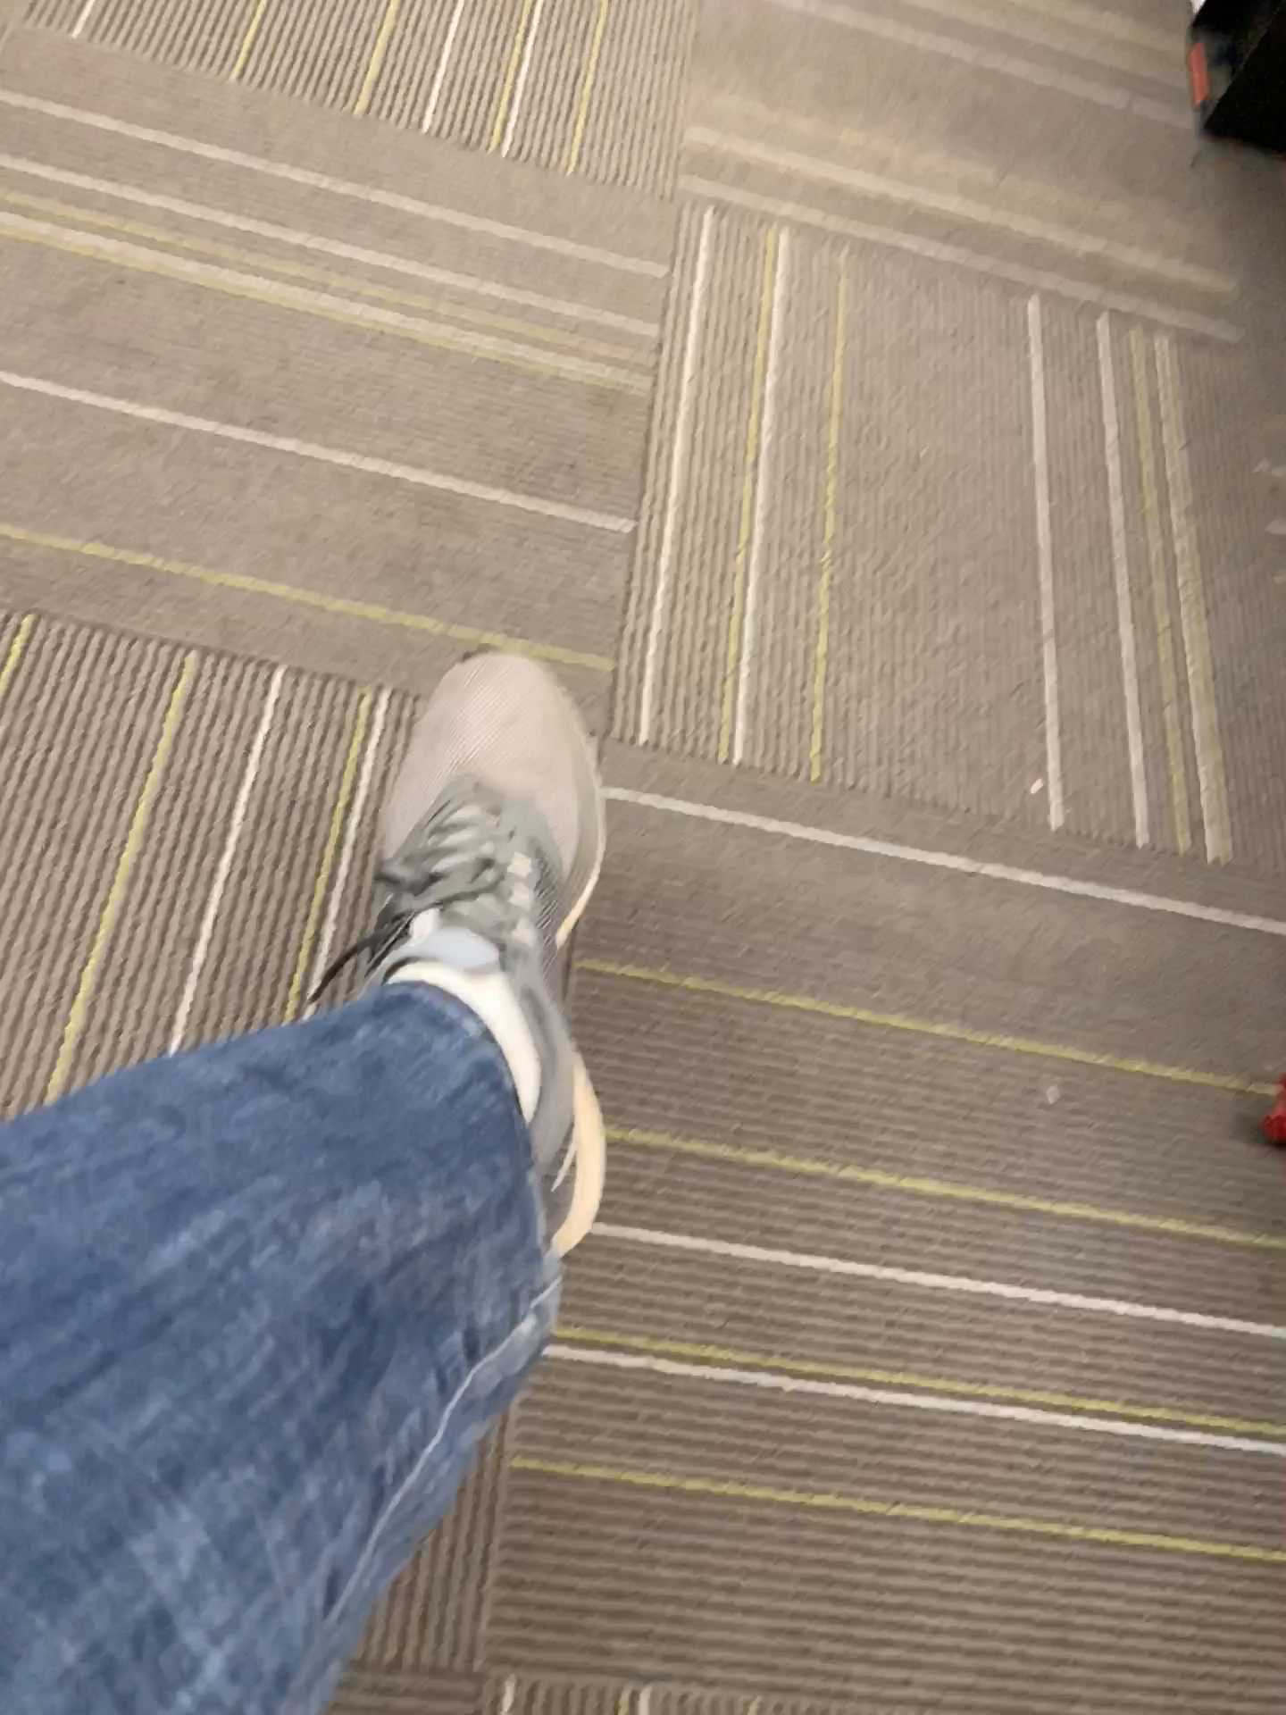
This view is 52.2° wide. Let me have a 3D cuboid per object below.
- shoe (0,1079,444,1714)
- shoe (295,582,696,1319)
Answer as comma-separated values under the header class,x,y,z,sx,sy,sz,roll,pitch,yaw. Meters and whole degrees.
class,x,y,z,sx,sy,sz,roll,pitch,yaw
shoe,-0.238,0.321,0.791,0.123,0.180,0.310,20,62,-4
shoe,-0.071,0.042,0.606,0.126,0.115,0.298,-15,62,14
